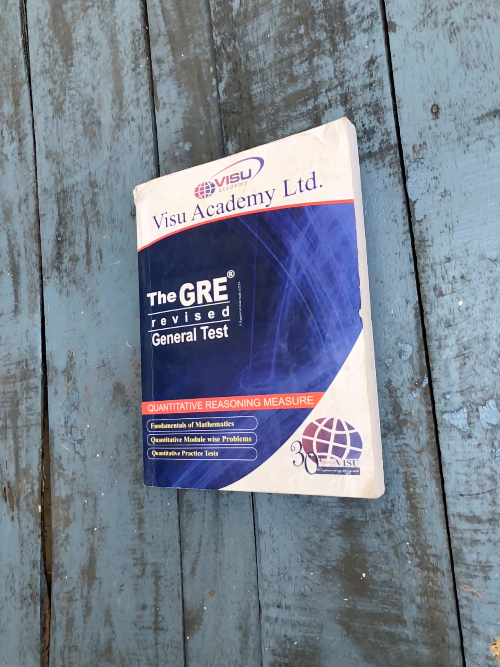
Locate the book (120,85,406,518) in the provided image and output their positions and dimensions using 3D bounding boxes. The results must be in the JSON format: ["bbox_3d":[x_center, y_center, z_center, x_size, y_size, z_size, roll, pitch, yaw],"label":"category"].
[{"bbox_3d":[-0.002,-0.015,0.447,0.221,0.060,0.290,-7,80,32],"label":"book"}]
